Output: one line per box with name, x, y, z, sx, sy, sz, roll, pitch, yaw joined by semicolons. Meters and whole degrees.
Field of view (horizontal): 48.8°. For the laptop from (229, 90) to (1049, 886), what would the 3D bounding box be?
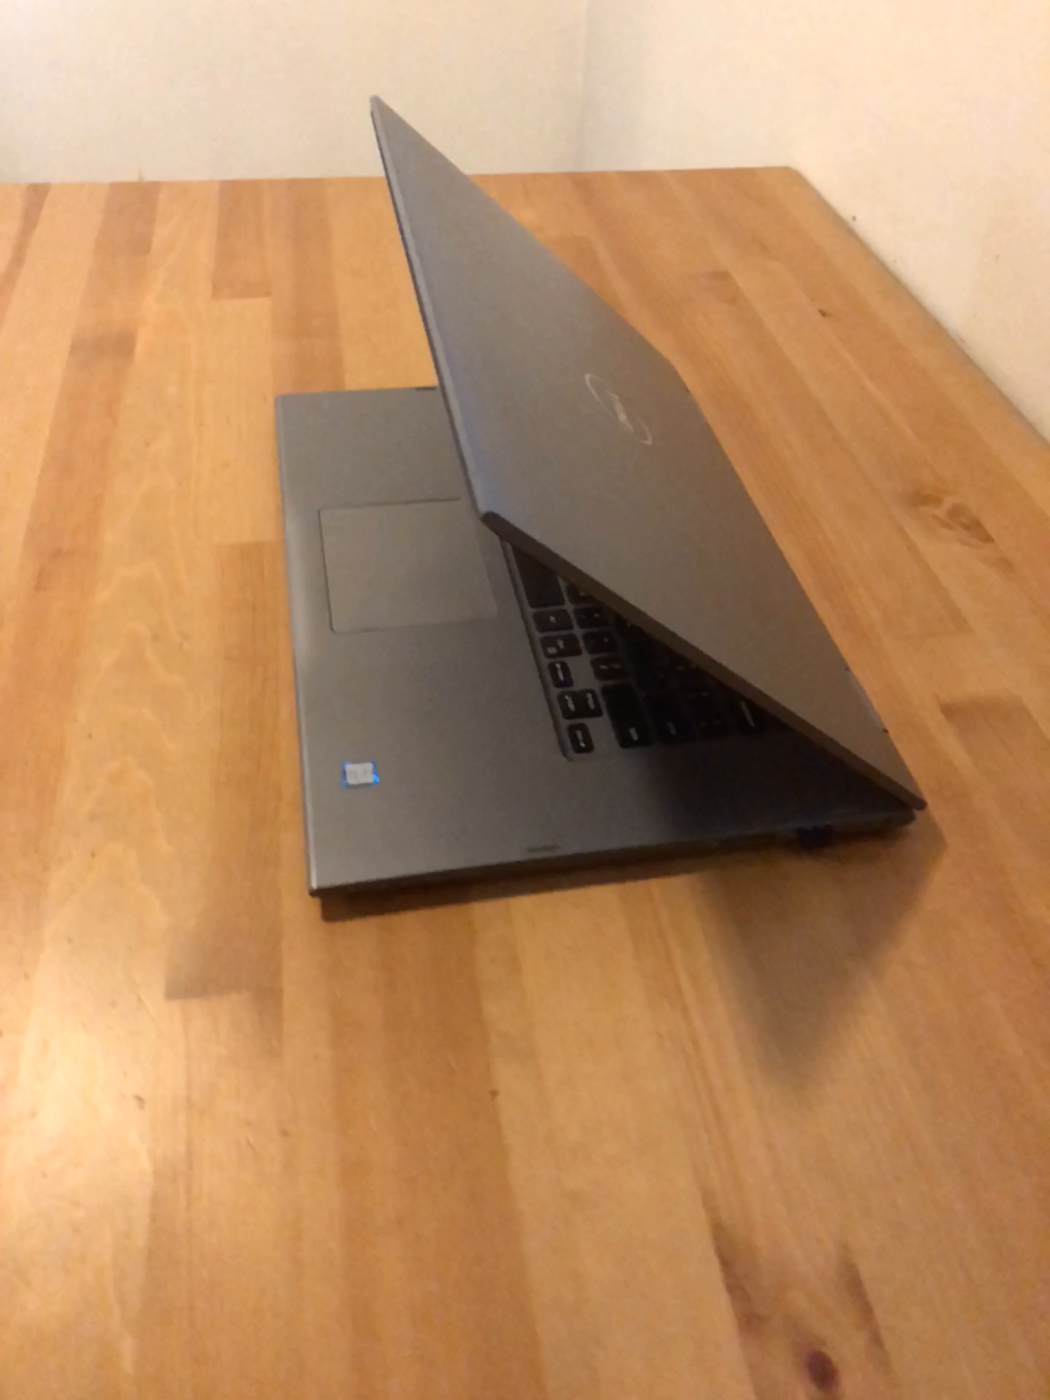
laptop;0.005;-0.131;0.533;0.246;0.165;0.377;-6;44;-10
